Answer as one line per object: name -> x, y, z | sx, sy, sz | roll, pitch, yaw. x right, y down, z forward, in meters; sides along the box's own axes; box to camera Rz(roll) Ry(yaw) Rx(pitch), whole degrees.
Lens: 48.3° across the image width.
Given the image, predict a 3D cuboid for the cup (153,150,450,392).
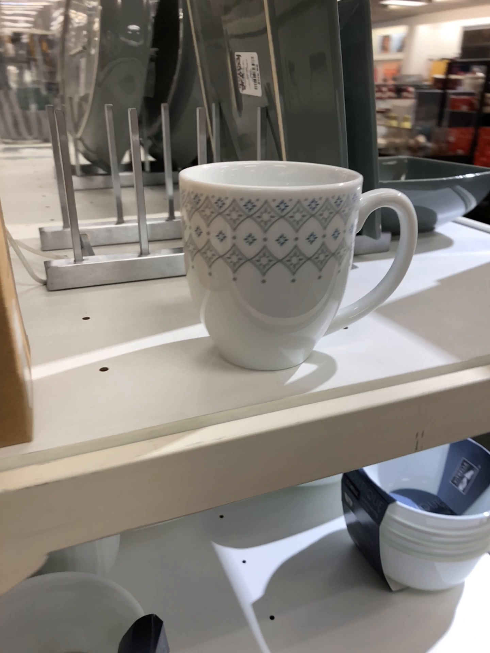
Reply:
cup -> 0.022, -0.039, 0.312 | 0.136, 0.099, 0.099 | -5, 26, -8
